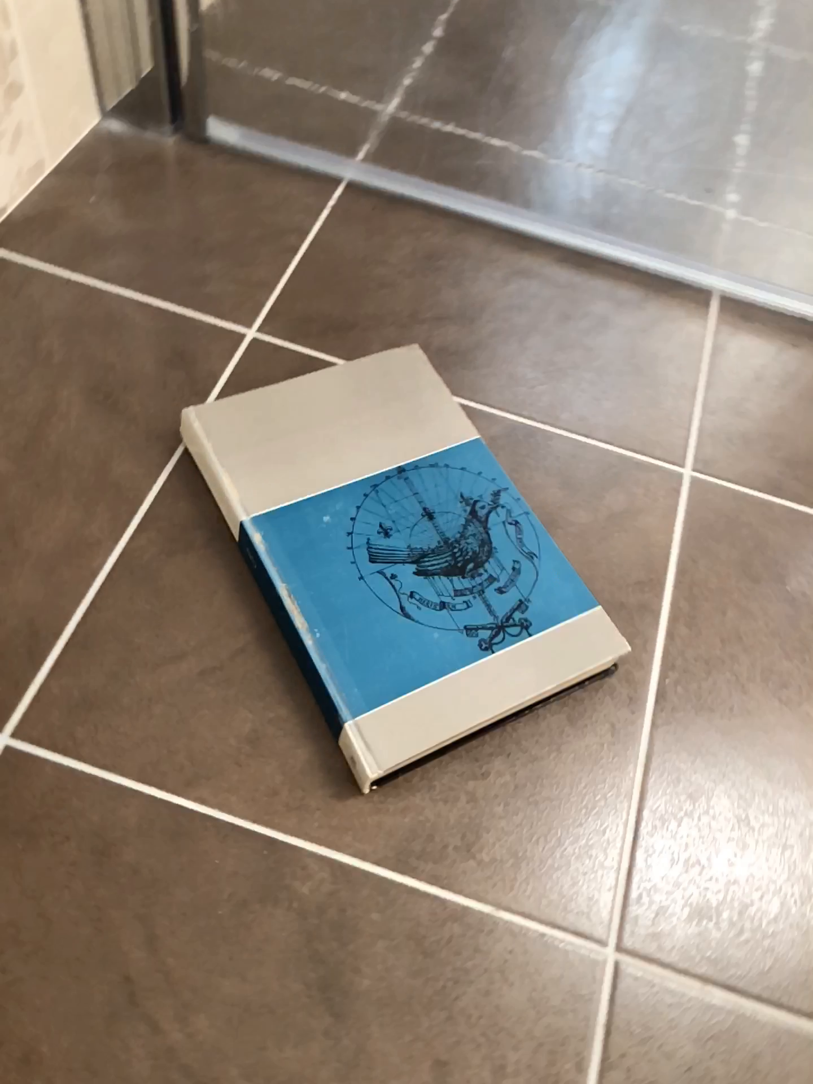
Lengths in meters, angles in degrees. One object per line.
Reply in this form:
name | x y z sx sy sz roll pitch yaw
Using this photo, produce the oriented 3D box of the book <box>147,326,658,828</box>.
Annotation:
book | -0.014 -0.003 0.580 0.211 0.040 0.300 -20 61 -21
